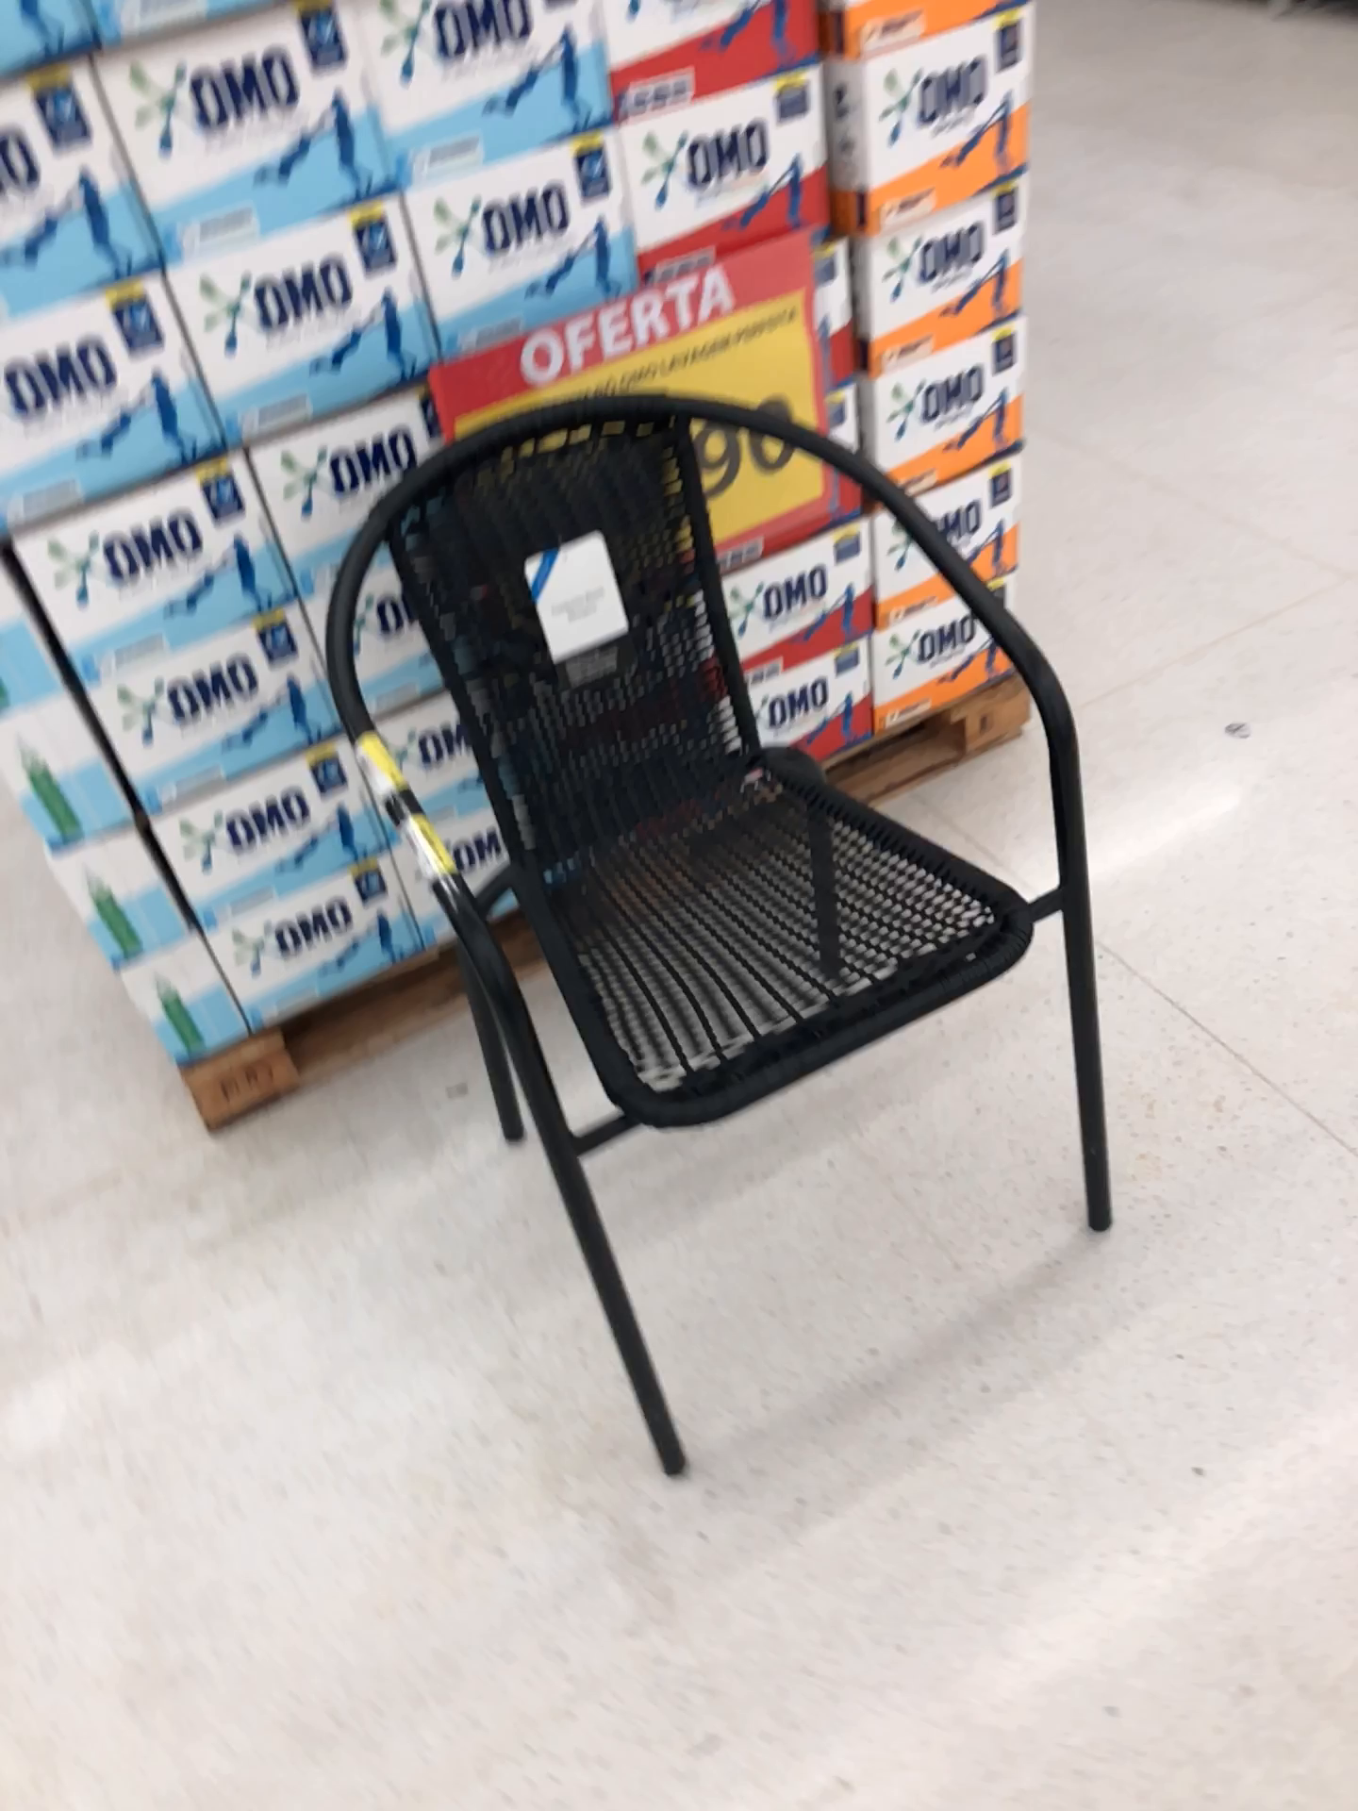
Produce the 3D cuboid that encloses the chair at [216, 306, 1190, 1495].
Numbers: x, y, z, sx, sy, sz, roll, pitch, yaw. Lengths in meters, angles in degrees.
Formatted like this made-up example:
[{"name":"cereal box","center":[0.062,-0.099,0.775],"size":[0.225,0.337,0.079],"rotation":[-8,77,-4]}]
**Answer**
[{"name":"chair","center":[0.035,-0.008,1.269],"size":[0.501,0.725,0.503],"rotation":[-25,43,-16]}]
